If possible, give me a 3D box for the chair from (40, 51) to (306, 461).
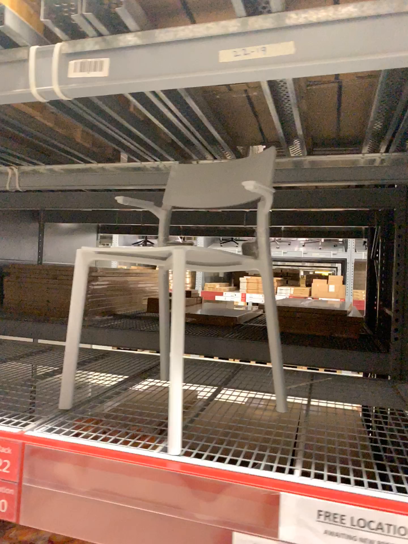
[{"bbox_3d":[-0.061,-0.035,1.195,0.480,0.820,0.550,2,-1,36],"label":"chair"}]
